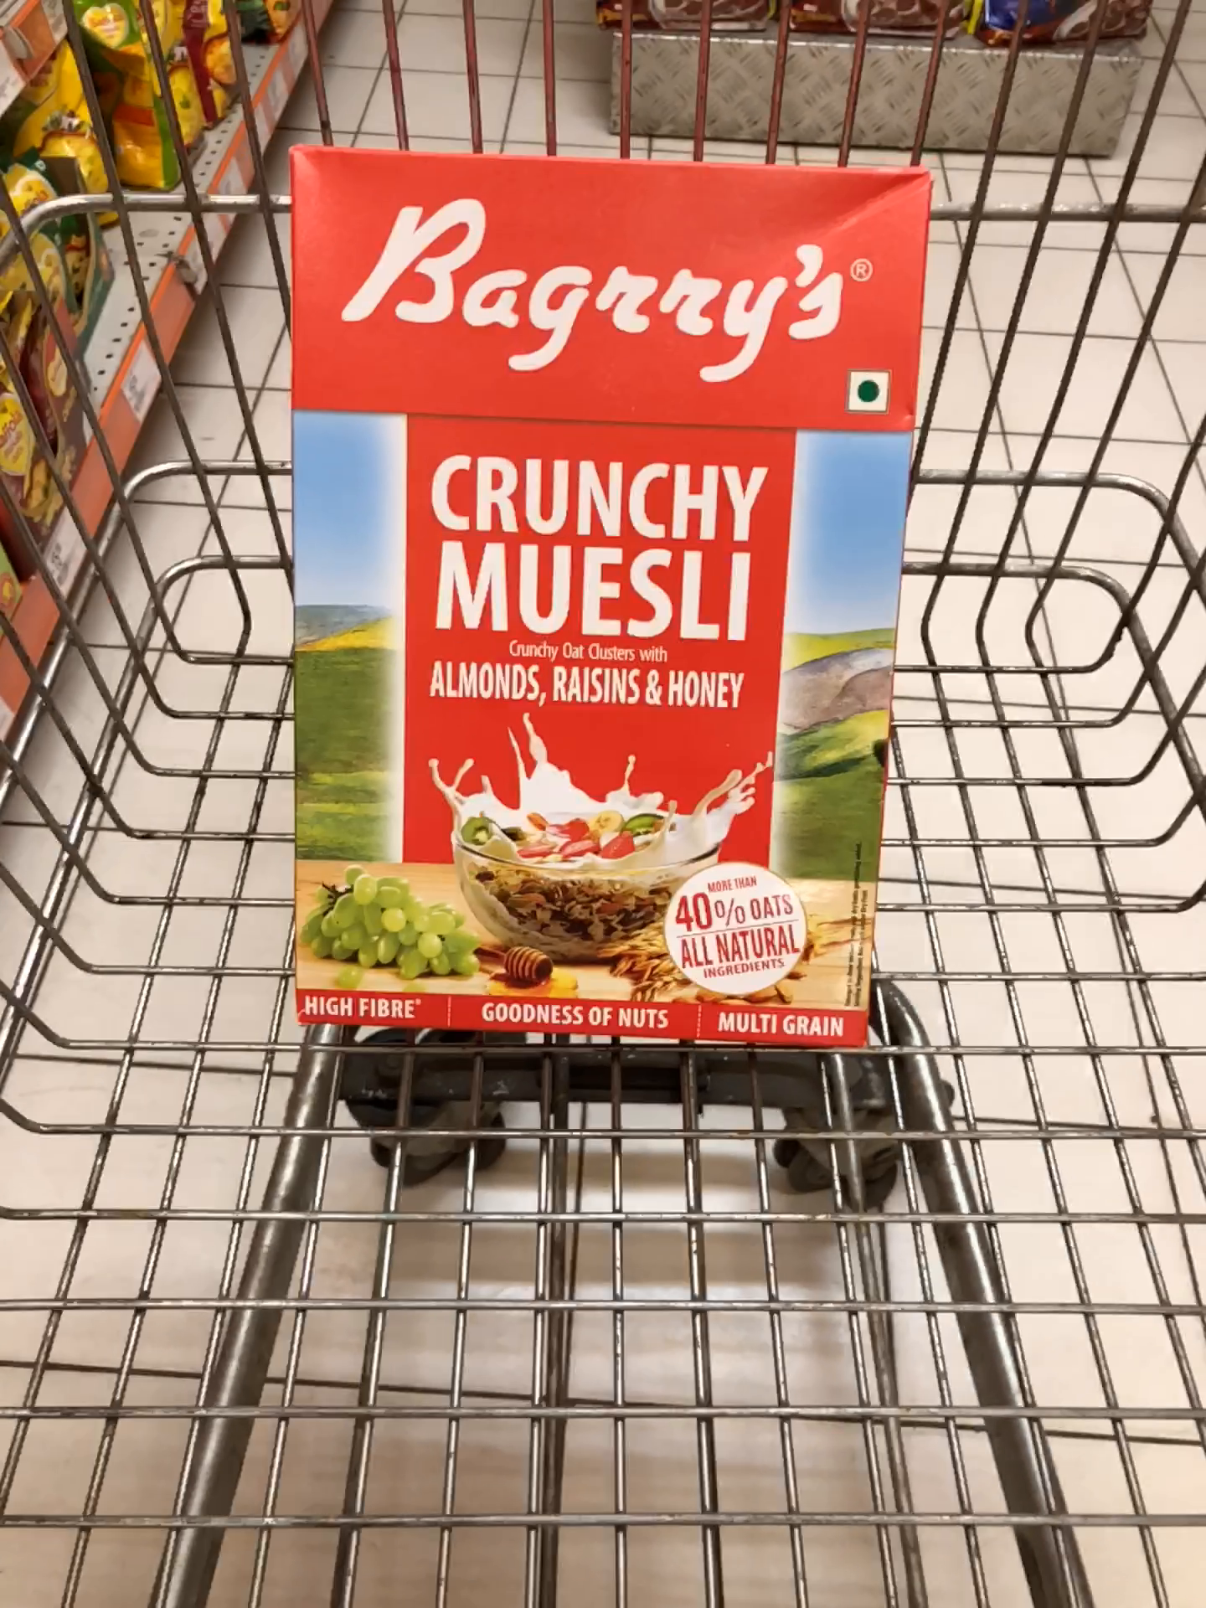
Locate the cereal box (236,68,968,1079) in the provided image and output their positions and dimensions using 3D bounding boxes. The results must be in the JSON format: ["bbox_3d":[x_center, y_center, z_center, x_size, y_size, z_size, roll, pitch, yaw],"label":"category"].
[{"bbox_3d":[-0.006,-0.060,0.412,0.190,0.279,0.060,2,15,0],"label":"cereal box"}]
